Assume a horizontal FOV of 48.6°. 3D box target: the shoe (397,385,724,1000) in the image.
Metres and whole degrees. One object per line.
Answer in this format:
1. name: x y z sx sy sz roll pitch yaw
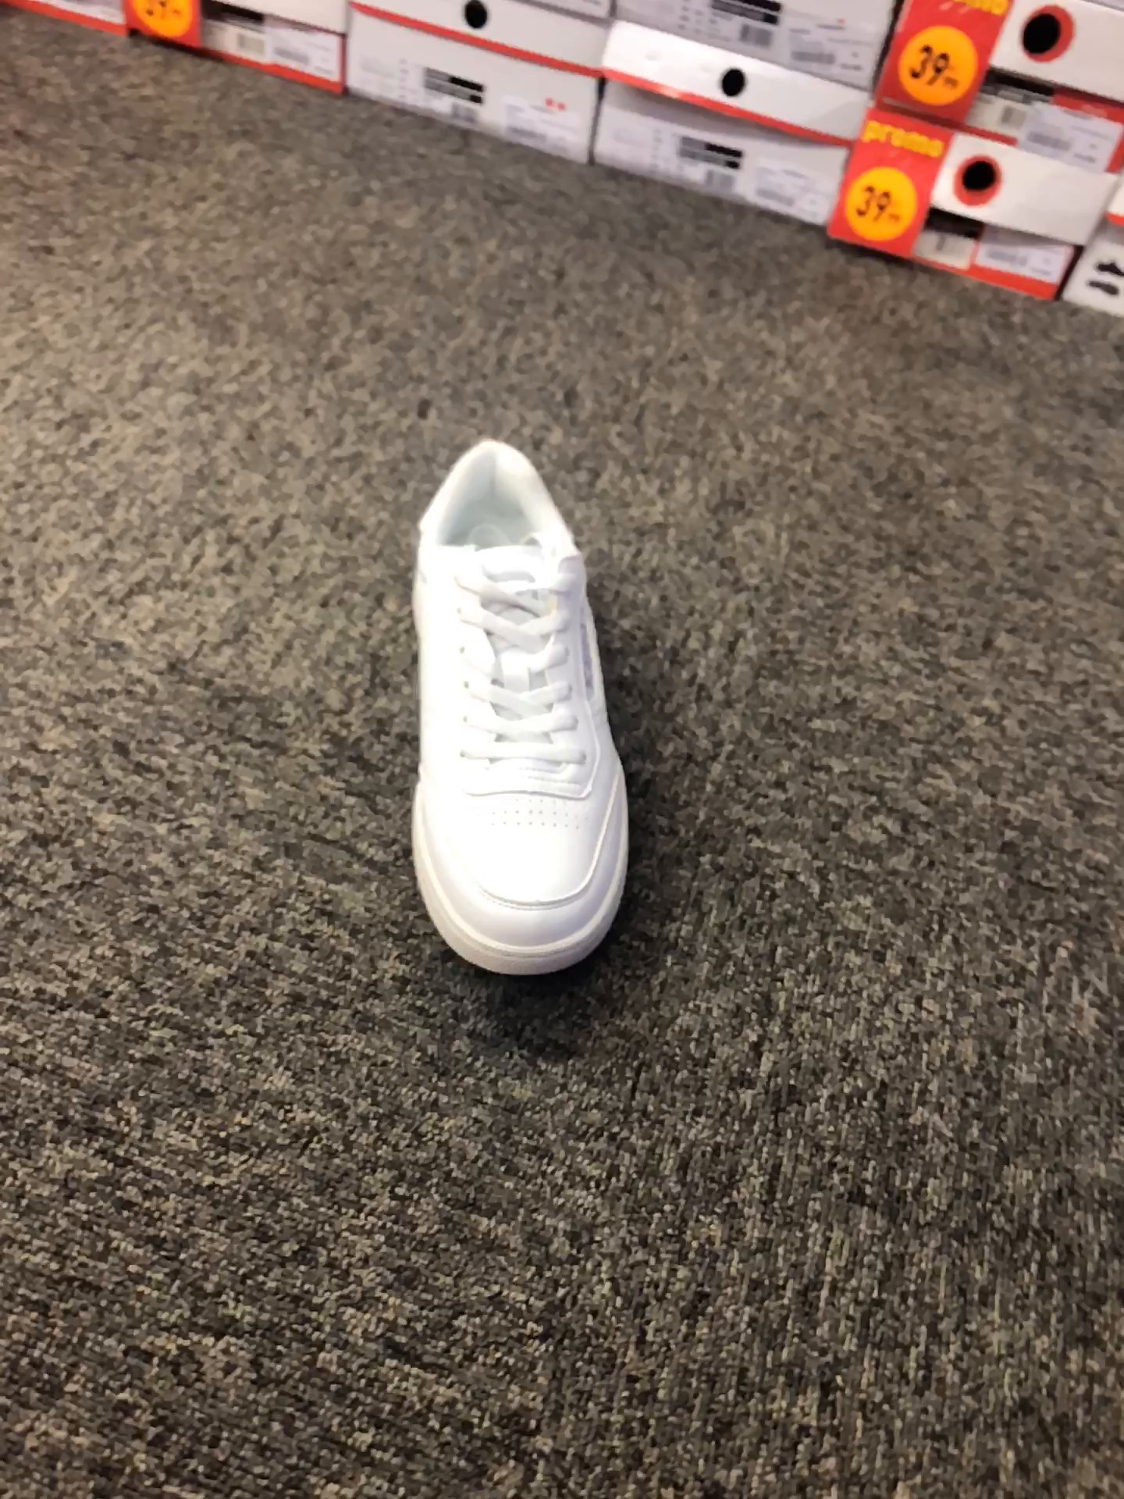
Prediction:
1. shoe: -0.015 -0.035 0.524 0.100 0.089 0.261 1 50 -10
